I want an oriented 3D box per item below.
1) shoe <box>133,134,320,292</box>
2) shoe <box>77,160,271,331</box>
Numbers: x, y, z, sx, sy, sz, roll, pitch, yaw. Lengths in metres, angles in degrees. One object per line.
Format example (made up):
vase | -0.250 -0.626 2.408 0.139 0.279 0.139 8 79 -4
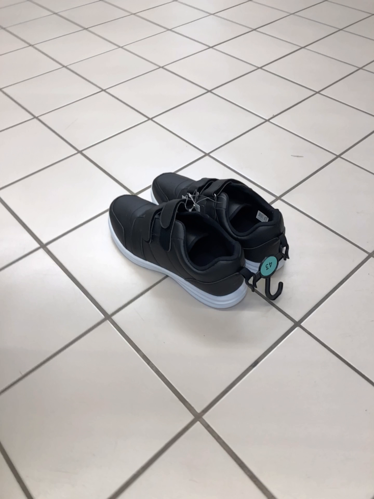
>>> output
shoe | 0.052 -0.074 0.696 0.310 0.099 0.100 35 57 29
shoe | -0.030 -0.018 0.659 0.310 0.099 0.100 34 56 28
